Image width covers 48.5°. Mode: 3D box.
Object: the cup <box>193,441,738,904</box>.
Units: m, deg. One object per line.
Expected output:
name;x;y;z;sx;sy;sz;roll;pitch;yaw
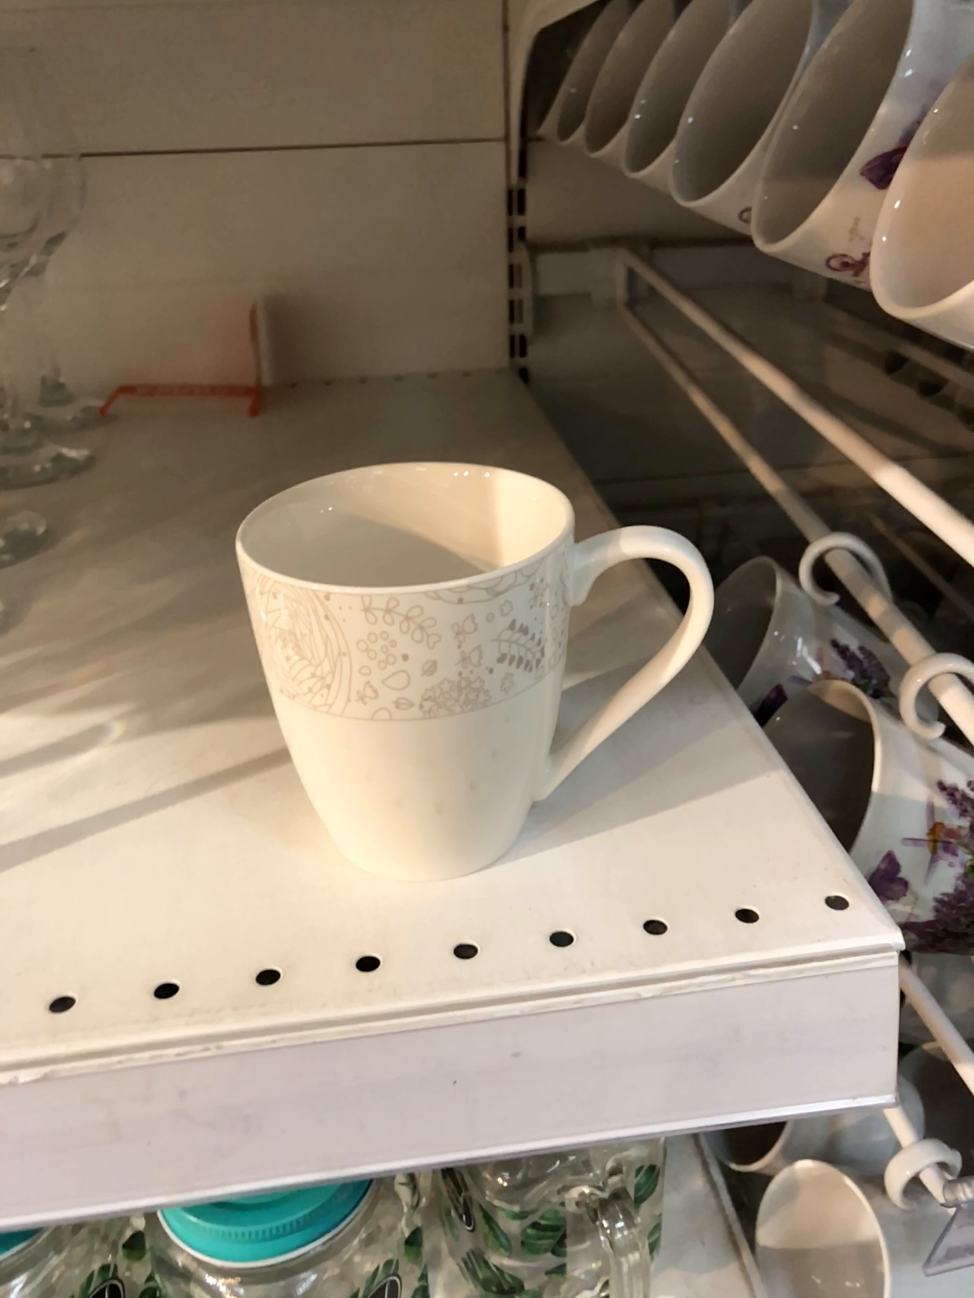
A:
cup;-0.006;0.002;0.309;0.125;0.091;0.090;-4;29;-4
